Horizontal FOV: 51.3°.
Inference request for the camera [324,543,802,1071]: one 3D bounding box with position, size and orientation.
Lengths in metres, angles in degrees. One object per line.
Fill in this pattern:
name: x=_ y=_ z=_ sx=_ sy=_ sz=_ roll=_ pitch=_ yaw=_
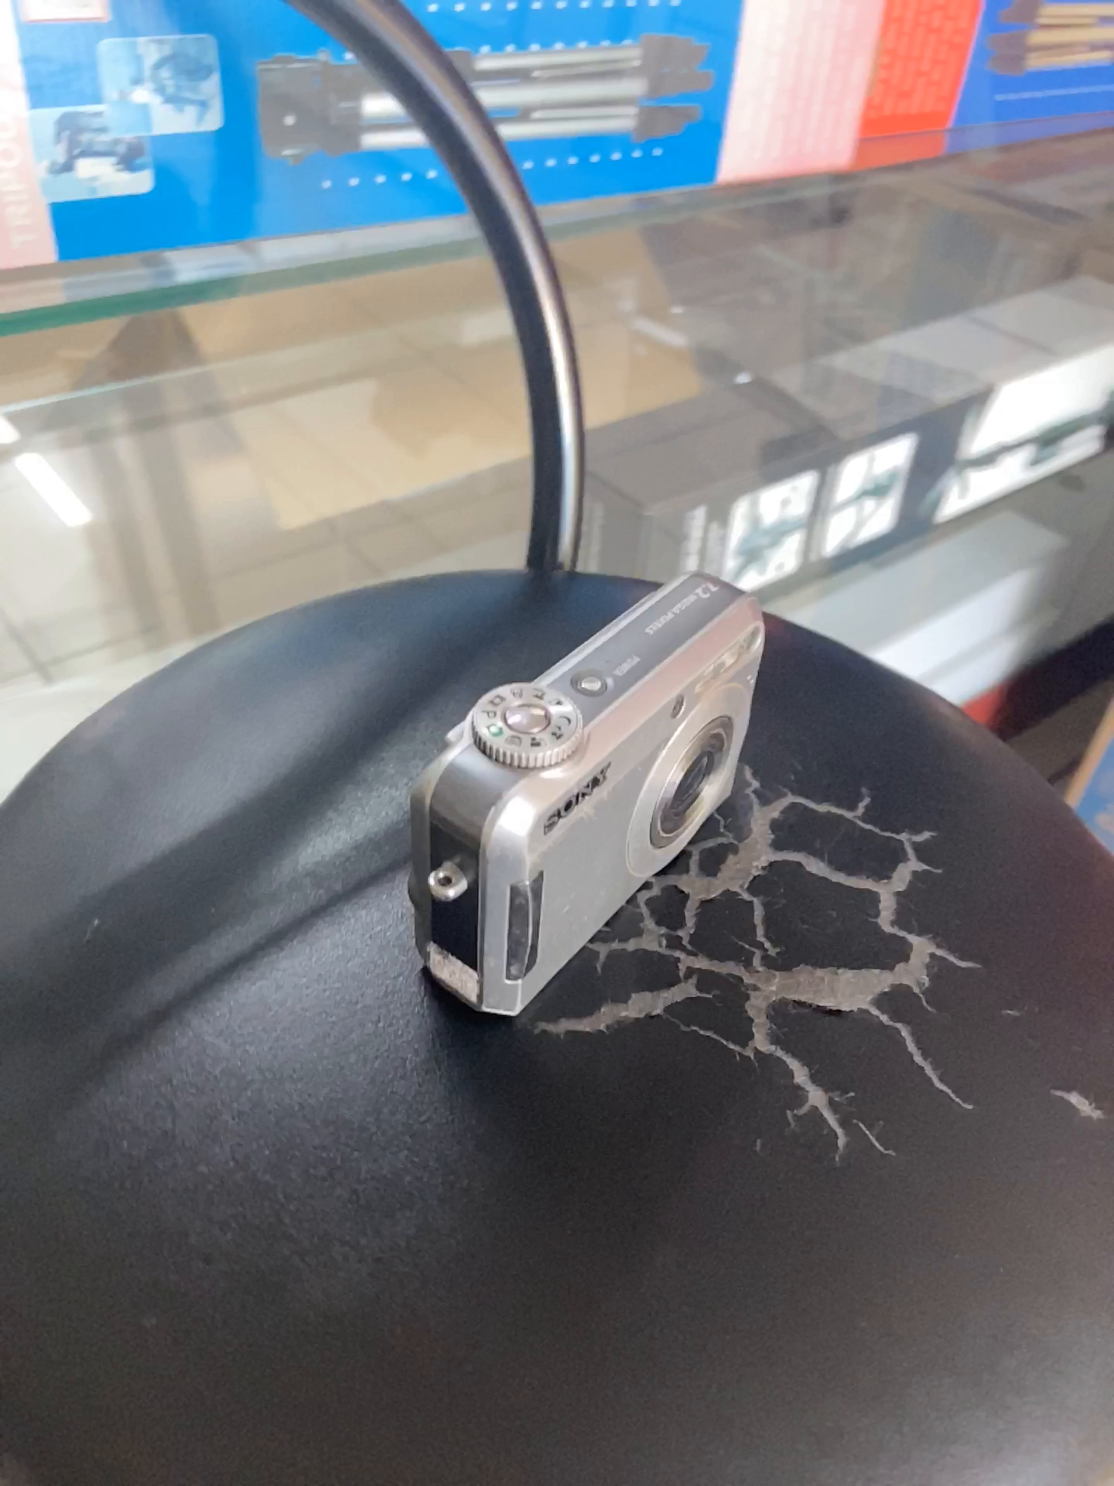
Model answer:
camera: x=0.004 y=0.008 z=0.237 sx=0.040 sy=0.050 sz=0.101 roll=28 pitch=46 yaw=24
